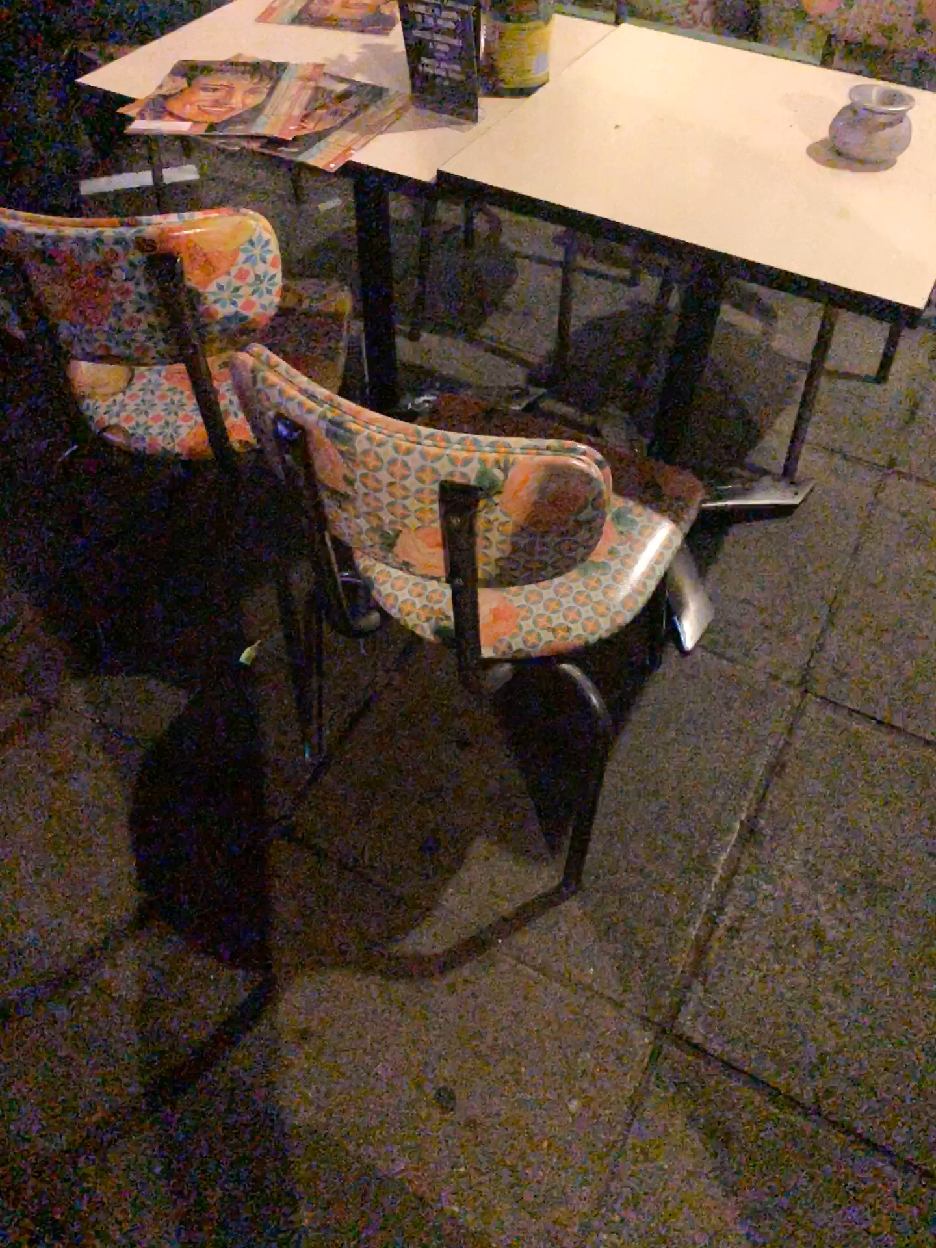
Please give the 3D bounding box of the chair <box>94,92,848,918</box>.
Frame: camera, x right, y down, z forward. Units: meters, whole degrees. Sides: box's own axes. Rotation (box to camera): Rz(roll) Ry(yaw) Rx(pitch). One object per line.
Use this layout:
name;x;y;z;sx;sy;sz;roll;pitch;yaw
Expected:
chair;0.038;-0.132;1.181;0.521;0.694;0.574;22;55;17
